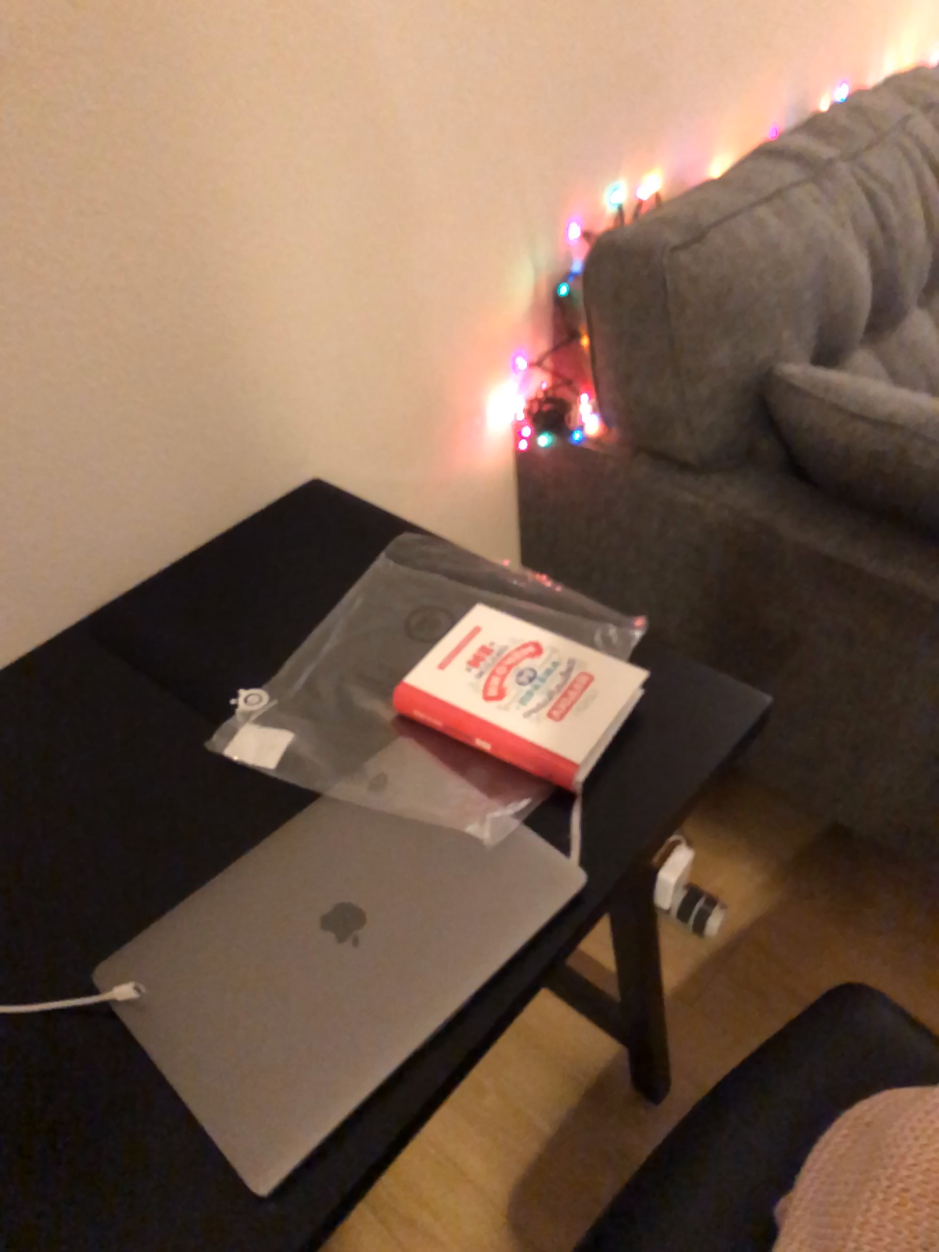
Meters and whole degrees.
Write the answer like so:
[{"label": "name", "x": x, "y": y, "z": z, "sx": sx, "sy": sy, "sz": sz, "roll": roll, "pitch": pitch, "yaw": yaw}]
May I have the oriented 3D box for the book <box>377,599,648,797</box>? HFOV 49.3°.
[{"label": "book", "x": 0.039, "y": 0.056, "z": 0.897, "sx": 0.190, "sy": 0.030, "sz": 0.141, "roll": 20, "pitch": 47, "yaw": 25}]
